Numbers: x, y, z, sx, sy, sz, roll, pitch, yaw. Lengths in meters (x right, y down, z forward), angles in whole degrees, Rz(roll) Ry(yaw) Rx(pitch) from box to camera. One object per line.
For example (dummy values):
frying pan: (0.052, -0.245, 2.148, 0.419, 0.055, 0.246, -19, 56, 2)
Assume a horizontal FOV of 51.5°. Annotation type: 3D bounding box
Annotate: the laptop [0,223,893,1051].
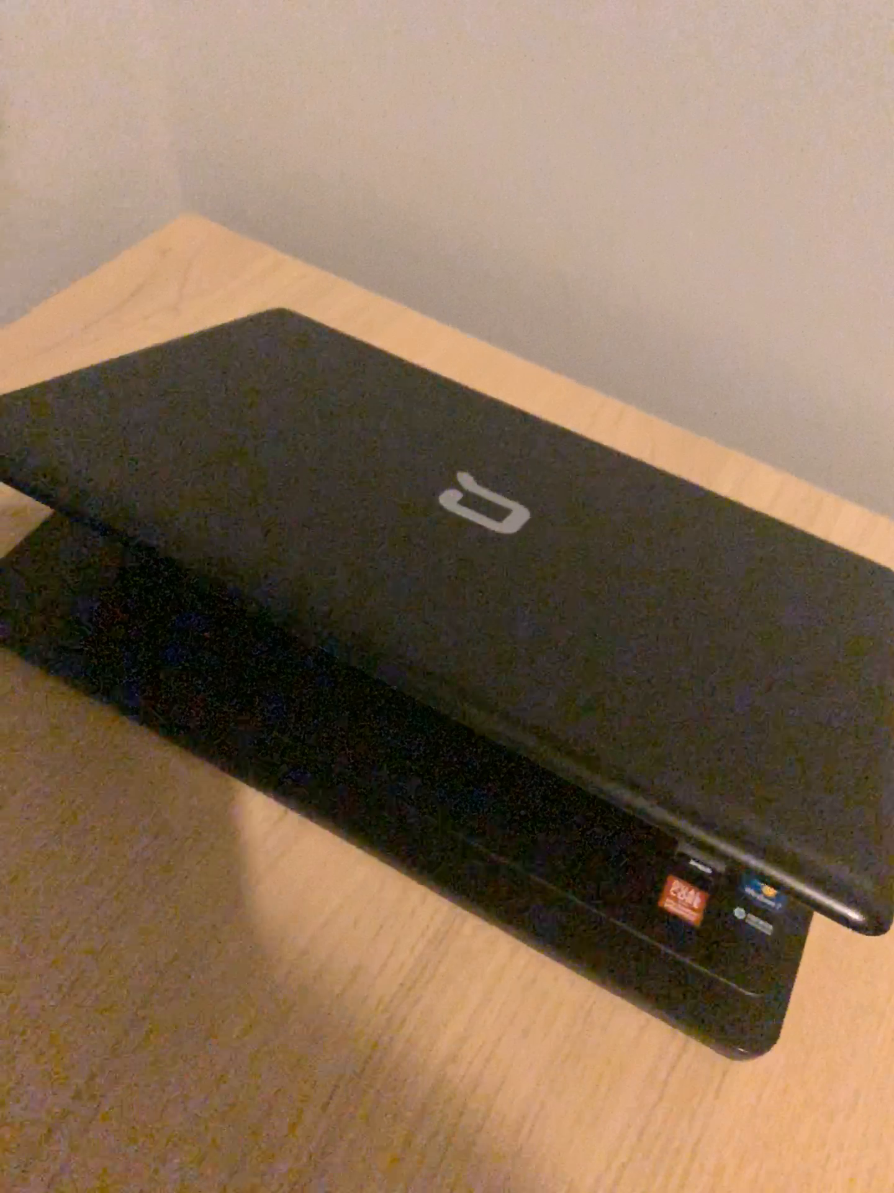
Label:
laptop: (0.006, -0.017, 0.404, 0.373, 0.064, 0.224, 26, 57, 14)
